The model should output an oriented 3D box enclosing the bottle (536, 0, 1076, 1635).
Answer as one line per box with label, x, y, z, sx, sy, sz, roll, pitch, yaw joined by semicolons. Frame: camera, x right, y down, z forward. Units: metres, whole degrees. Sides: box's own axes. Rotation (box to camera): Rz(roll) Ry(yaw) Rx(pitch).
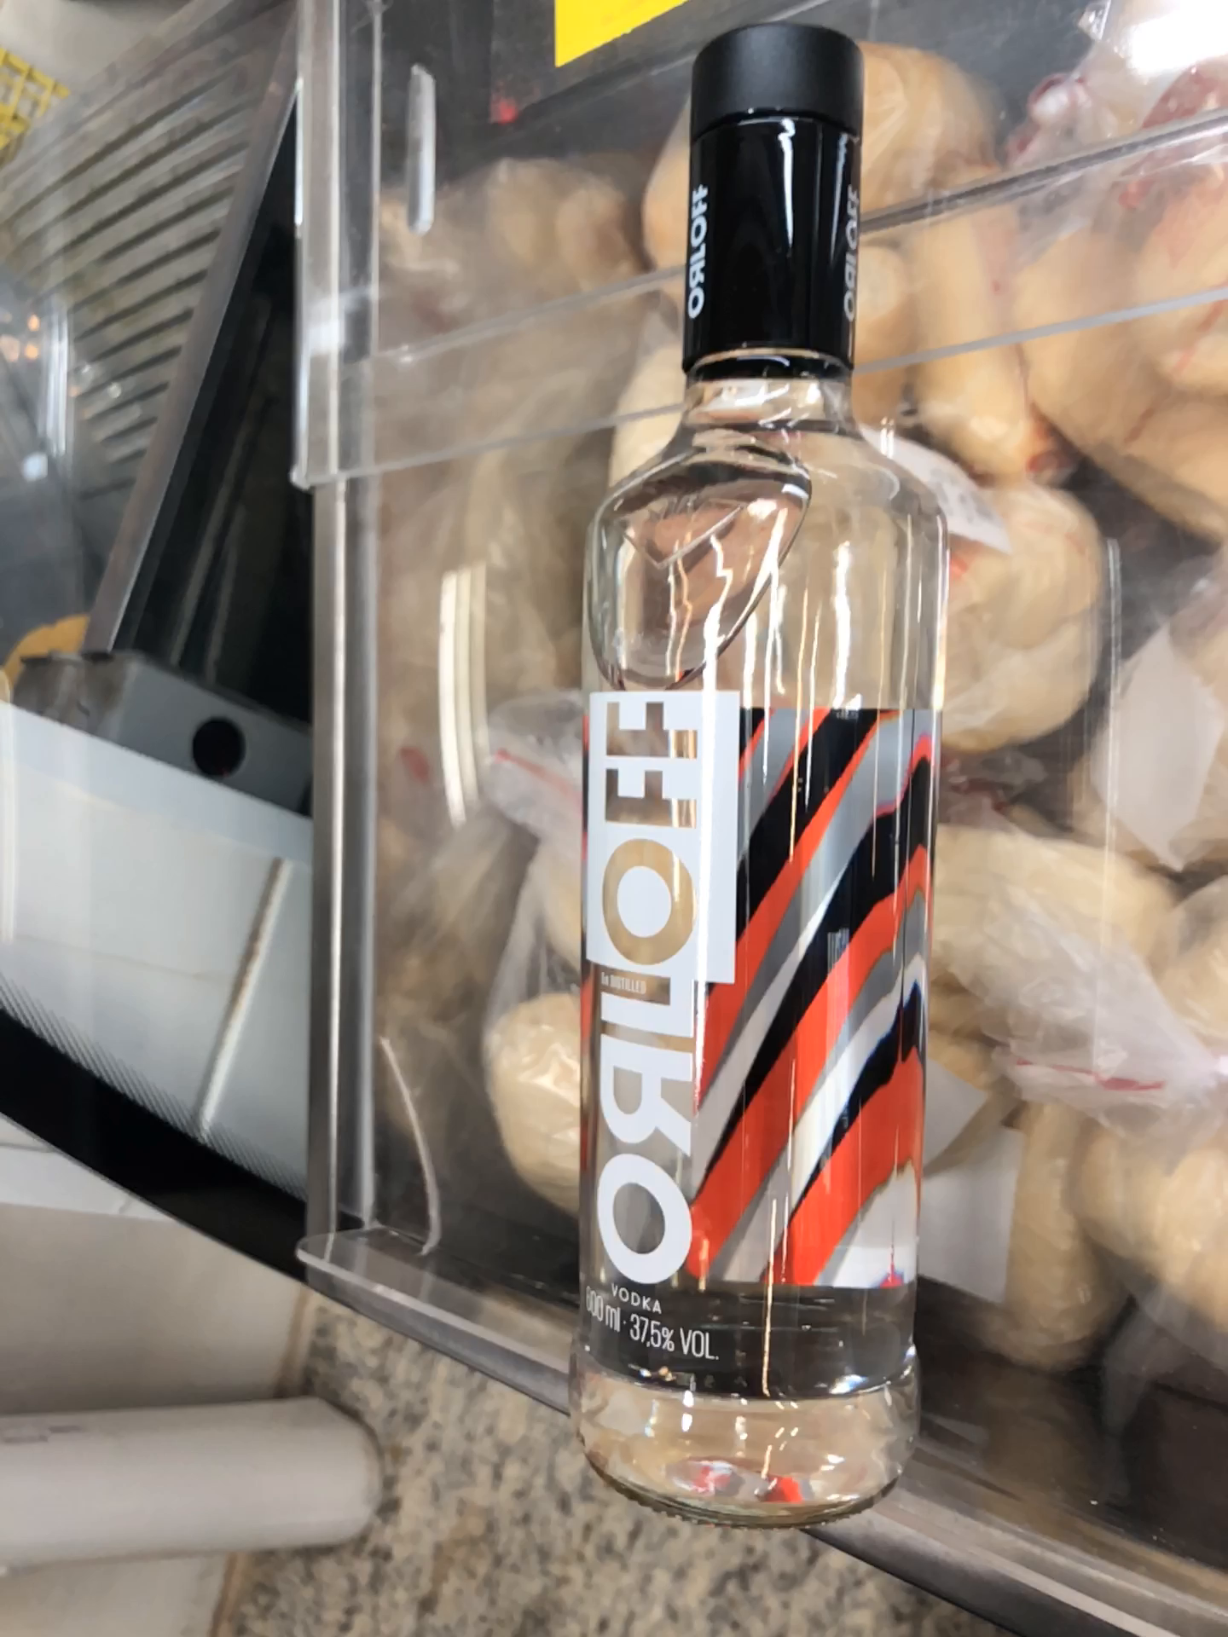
bottle;0.037;-0.016;0.272;0.070;0.070;0.300;4;94;45
